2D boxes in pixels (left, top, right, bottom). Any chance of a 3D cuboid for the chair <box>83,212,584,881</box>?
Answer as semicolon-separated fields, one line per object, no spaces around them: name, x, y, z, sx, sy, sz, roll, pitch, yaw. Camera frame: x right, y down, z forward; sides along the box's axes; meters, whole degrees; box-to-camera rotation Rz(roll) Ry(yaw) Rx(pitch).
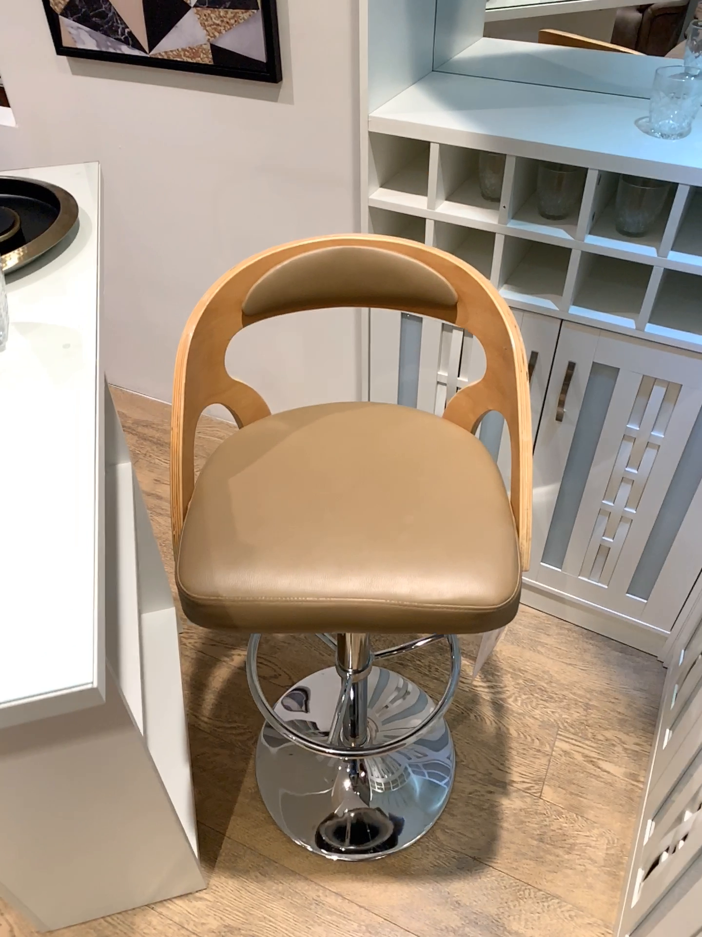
chair;0.003;0.206;1.135;0.430;1.046;0.462;3;43;4
